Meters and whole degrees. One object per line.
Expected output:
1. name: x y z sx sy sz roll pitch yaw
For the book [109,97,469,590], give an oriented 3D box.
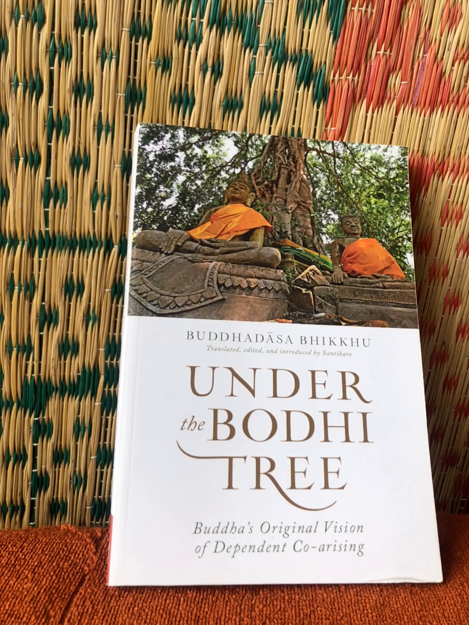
1. book: 0.027 0.008 0.267 0.160 0.231 0.030 2 -13 -7
